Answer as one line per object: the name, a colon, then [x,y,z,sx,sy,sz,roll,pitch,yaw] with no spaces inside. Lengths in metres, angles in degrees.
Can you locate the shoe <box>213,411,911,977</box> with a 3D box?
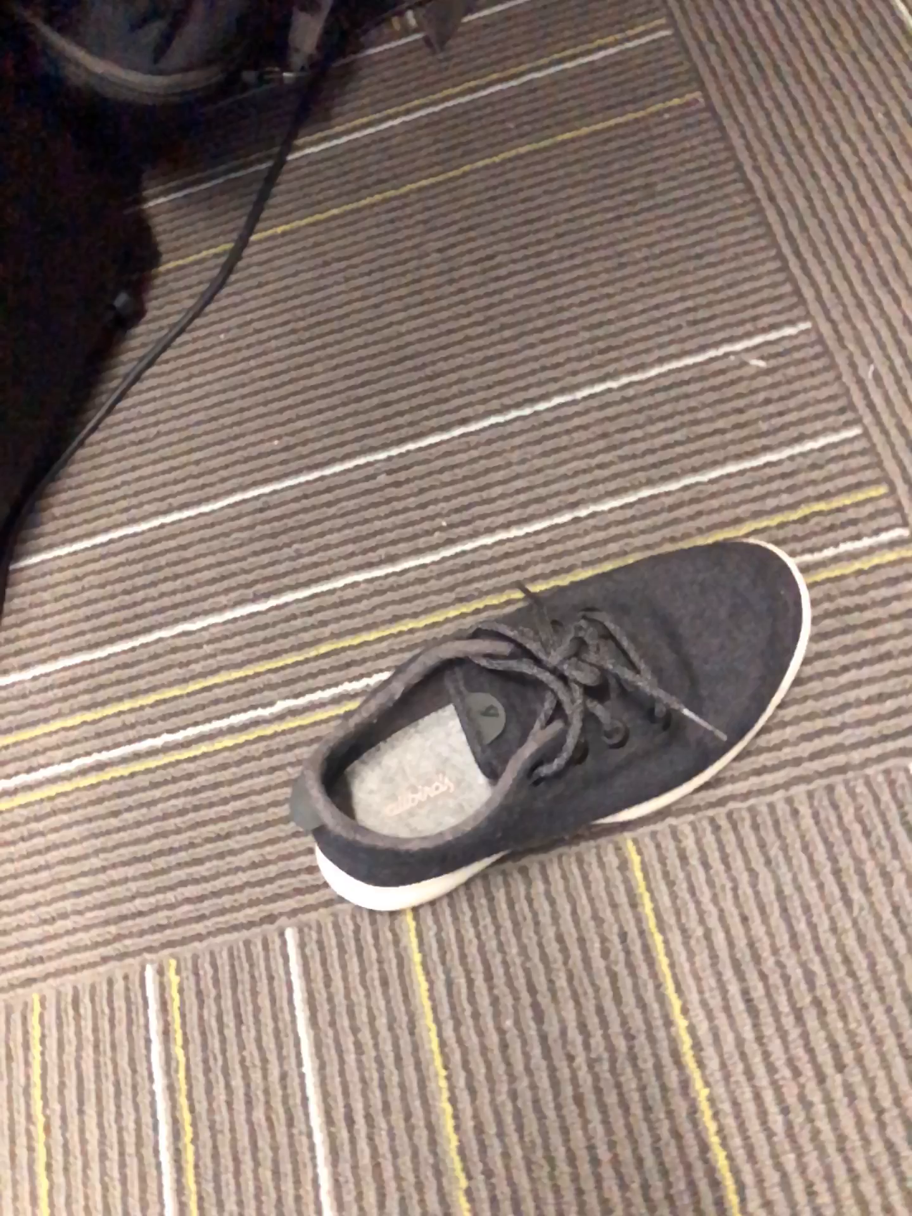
shoe: [0.046,0.039,0.447,0.270,0.070,0.120,-28,64,0]
